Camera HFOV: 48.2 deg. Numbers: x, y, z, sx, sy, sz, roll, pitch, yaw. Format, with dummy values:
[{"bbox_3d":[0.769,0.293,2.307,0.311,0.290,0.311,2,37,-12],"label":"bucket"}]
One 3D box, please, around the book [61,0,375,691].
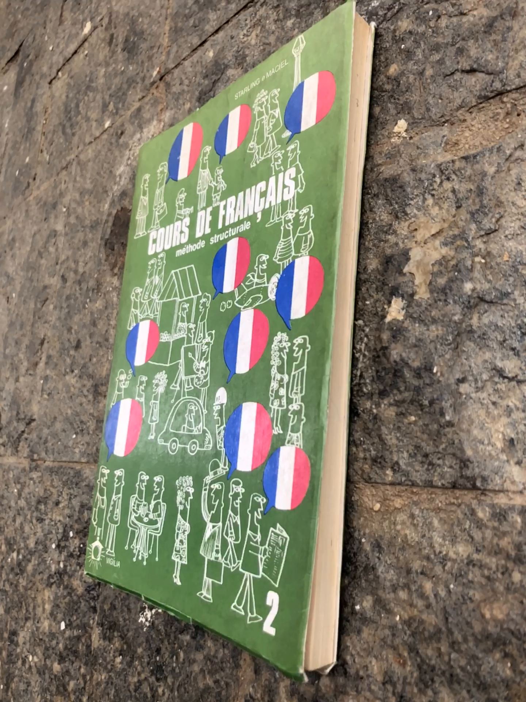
[{"bbox_3d":[-0.029,-0.007,0.240,0.168,0.013,0.211,-8,74,50],"label":"book"}]
